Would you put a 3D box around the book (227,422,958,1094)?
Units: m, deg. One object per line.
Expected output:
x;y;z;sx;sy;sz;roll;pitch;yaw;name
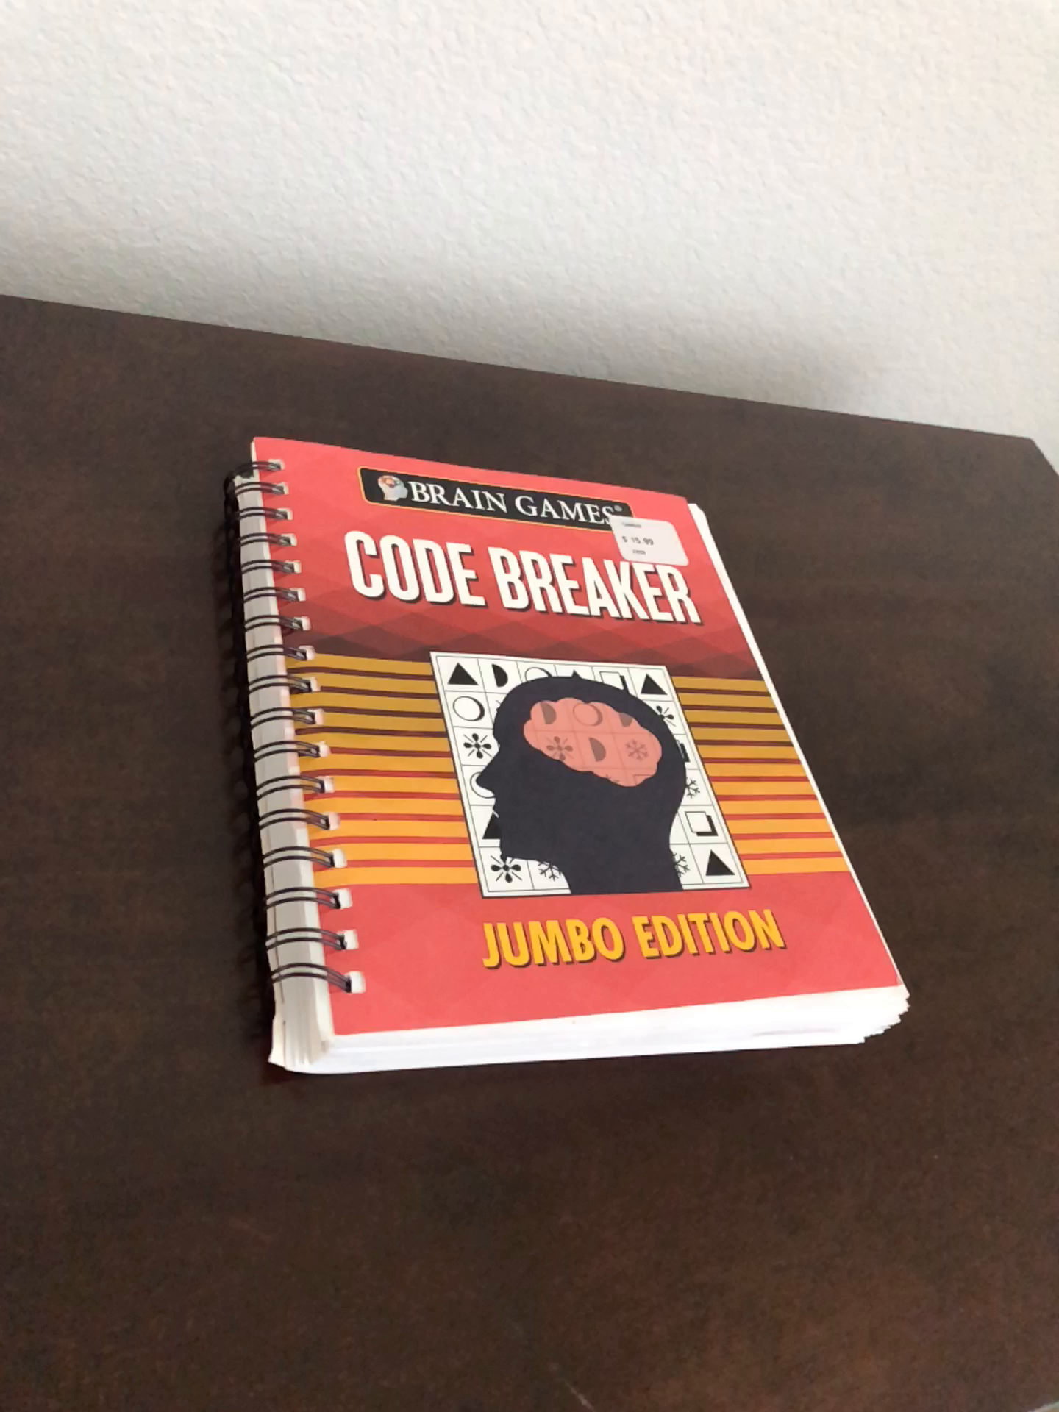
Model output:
0.011;0.005;0.393;0.203;0.030;0.224;3;52;-24;book
